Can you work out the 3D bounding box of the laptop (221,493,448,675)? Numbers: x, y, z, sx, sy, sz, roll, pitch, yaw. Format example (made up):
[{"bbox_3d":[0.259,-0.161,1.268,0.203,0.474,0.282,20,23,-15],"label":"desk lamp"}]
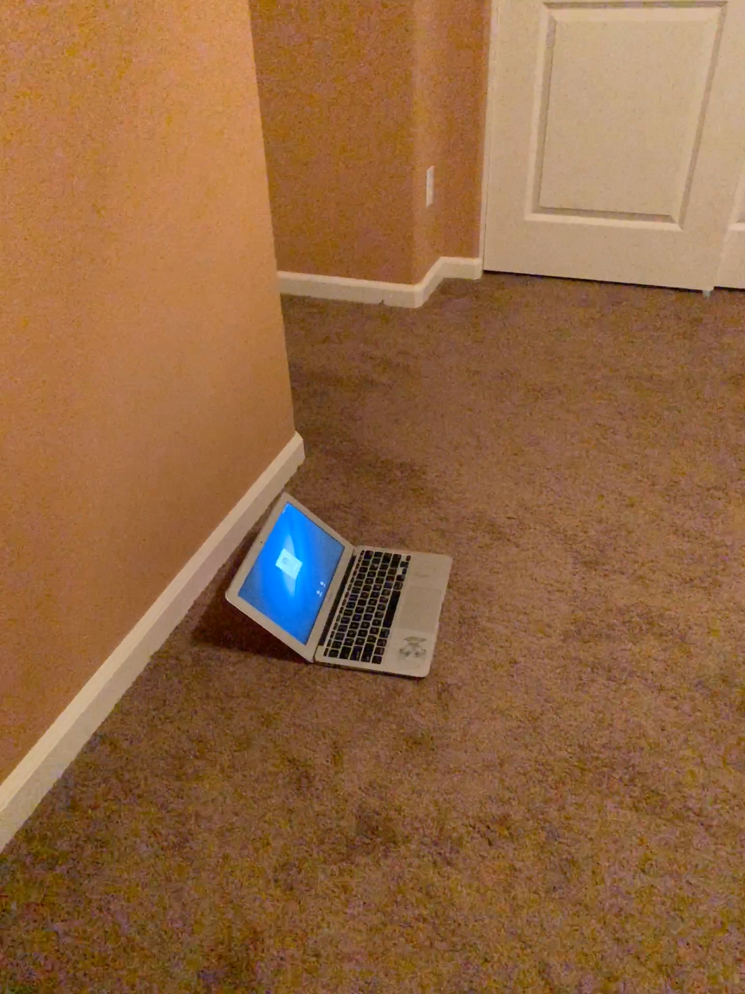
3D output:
[{"bbox_3d":[-0.050,0.137,1.325,0.324,0.116,0.300,5,35,11],"label":"laptop"}]
